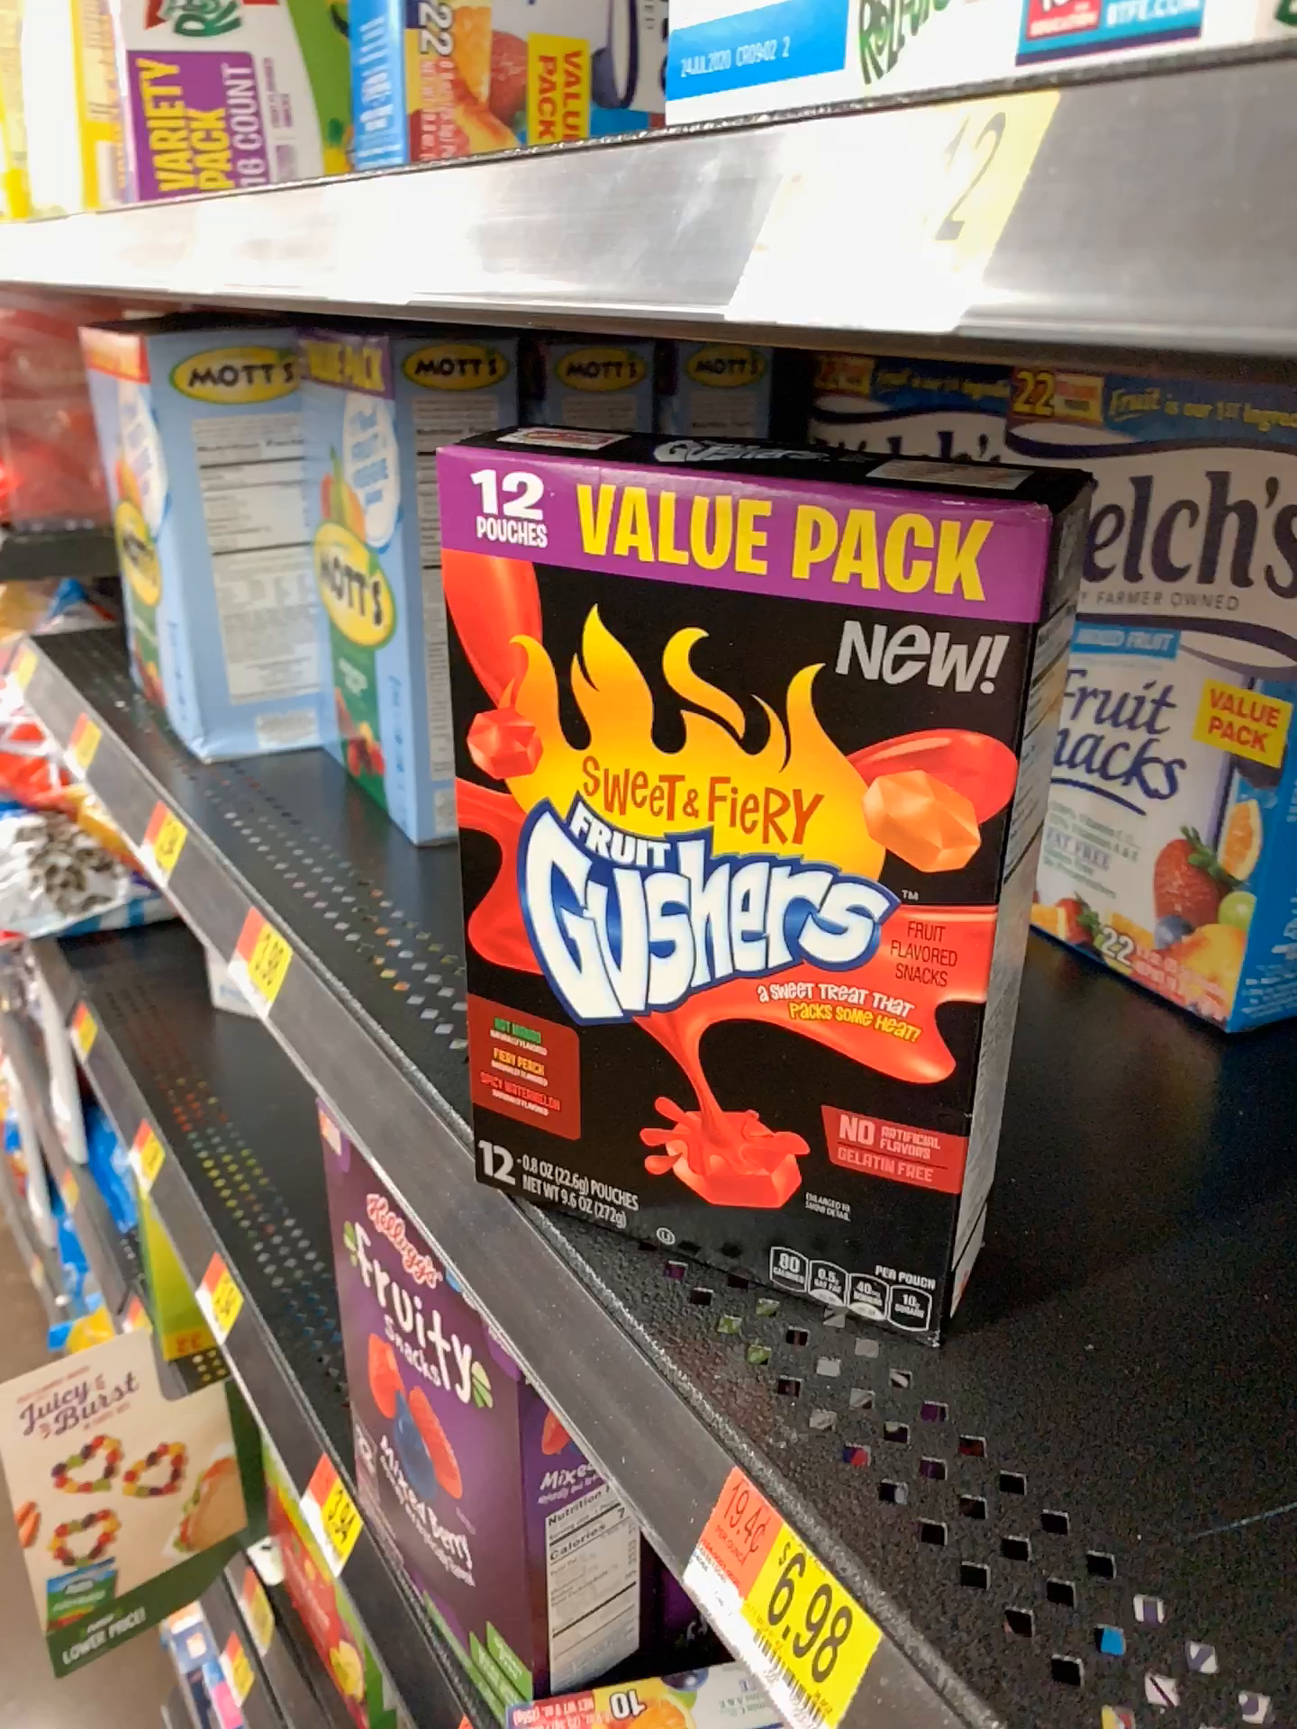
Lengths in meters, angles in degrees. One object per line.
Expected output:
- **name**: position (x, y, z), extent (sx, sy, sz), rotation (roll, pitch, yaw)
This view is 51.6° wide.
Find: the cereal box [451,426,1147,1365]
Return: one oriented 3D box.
- **cereal box**: position (0.032, 0.007, 0.353), extent (0.150, 0.219, 0.050), rotation (12, 28, 25)
